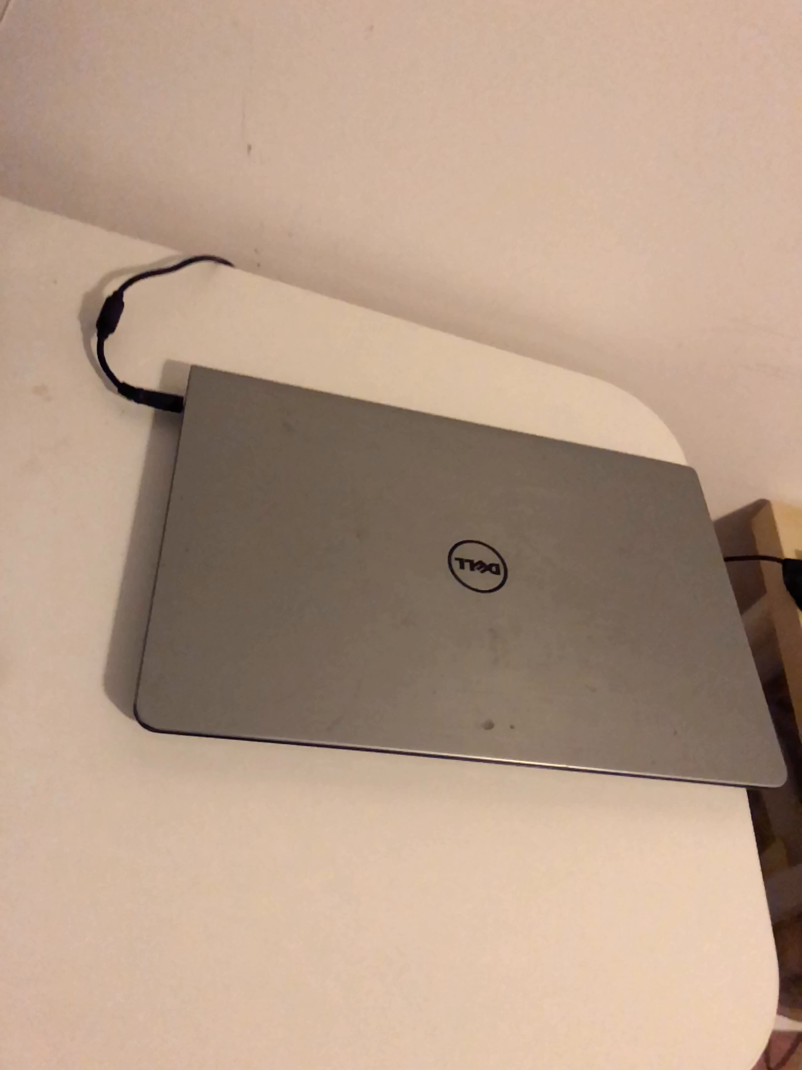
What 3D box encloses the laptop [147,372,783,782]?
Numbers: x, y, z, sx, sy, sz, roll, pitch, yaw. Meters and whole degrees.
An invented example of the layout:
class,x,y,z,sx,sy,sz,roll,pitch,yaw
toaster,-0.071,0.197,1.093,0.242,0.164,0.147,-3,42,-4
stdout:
class,x,y,z,sx,sy,sz,roll,pitch,yaw
laptop,0.047,0.020,0.557,0.371,0.001,0.248,9,52,-14
